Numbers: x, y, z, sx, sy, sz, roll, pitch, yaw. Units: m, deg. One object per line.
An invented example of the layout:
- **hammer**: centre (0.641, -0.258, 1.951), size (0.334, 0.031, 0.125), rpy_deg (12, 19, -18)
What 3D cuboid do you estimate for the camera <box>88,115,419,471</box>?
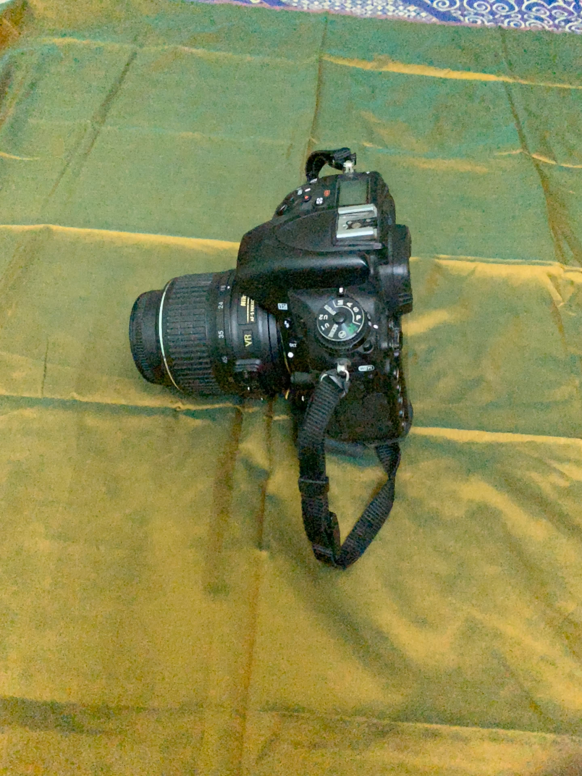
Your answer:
- **camera**: centre (-0.004, -0.046, 0.329), size (0.131, 0.120, 0.135), rpy_deg (-5, 51, 14)
